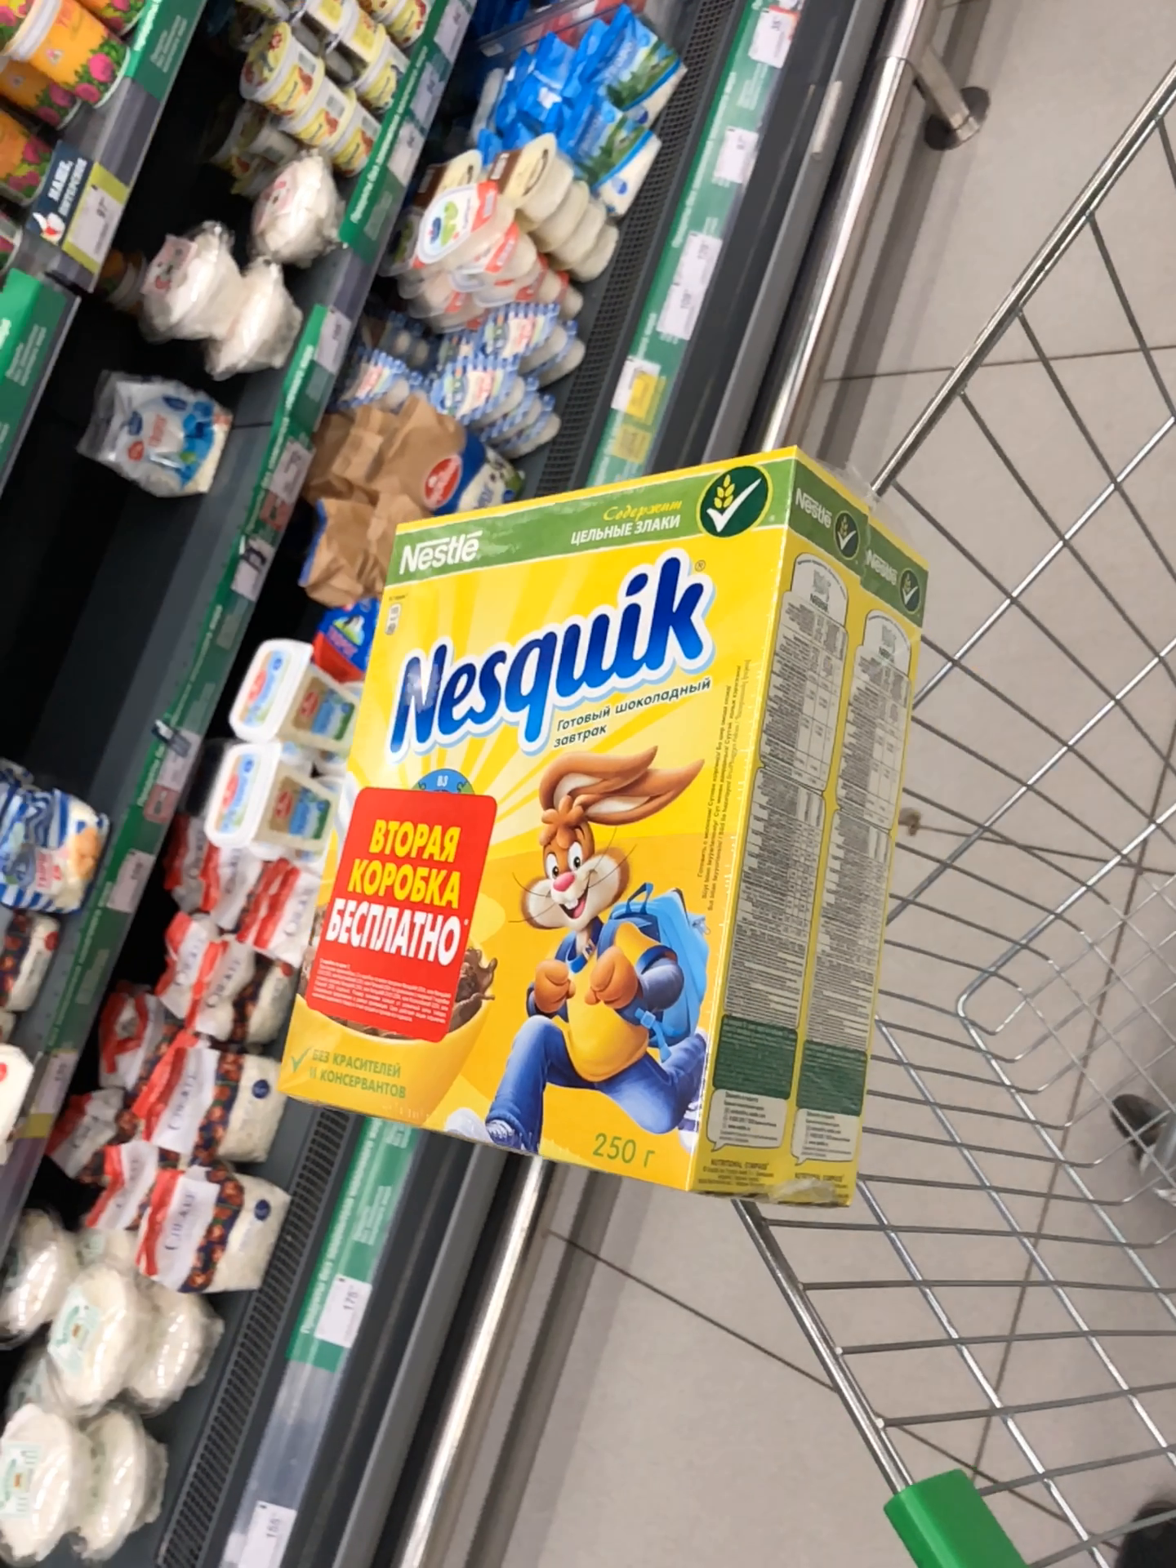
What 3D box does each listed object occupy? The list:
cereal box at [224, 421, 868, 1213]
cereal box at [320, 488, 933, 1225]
[{"bbox_3d":[-0.021,0.008,0.468,0.211,0.050,0.240,0,74,40],"label":"cereal box"},{"bbox_3d":[0.009,0.022,0.499,0.211,0.050,0.240,0,74,40],"label":"cereal box"}]
